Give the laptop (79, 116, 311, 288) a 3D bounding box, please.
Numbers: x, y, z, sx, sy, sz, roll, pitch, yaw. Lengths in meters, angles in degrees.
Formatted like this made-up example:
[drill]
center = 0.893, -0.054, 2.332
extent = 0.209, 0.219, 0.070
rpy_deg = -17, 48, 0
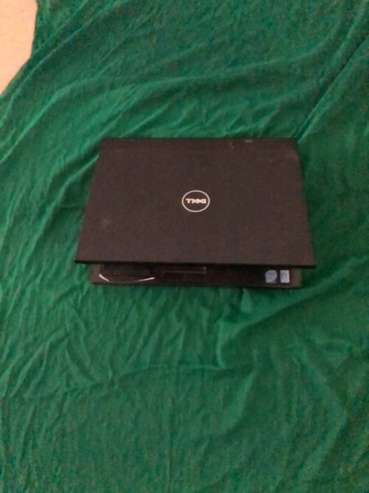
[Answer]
[laptop]
center = 0.018, -0.063, 0.590
extent = 0.306, 0.066, 0.226
rpy_deg = 1, 79, 3
